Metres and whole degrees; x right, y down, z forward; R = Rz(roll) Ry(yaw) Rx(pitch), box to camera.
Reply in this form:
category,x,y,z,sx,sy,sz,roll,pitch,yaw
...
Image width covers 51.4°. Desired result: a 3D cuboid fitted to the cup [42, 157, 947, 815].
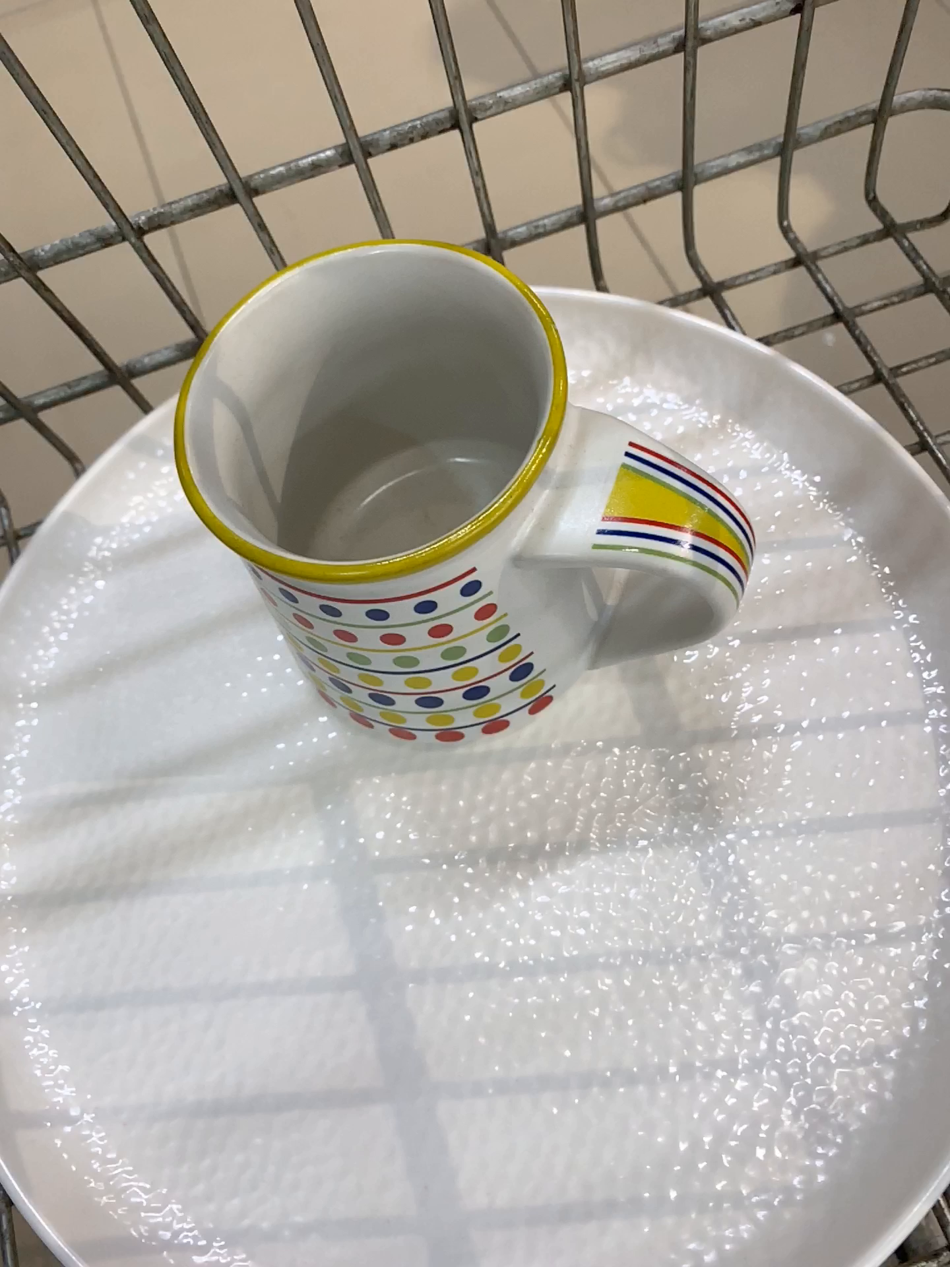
category,x,y,z,sx,sy,sz,roll,pitch,yaw
cup,0.007,-0.018,0.192,0.120,0.100,0.080,0,66,7
